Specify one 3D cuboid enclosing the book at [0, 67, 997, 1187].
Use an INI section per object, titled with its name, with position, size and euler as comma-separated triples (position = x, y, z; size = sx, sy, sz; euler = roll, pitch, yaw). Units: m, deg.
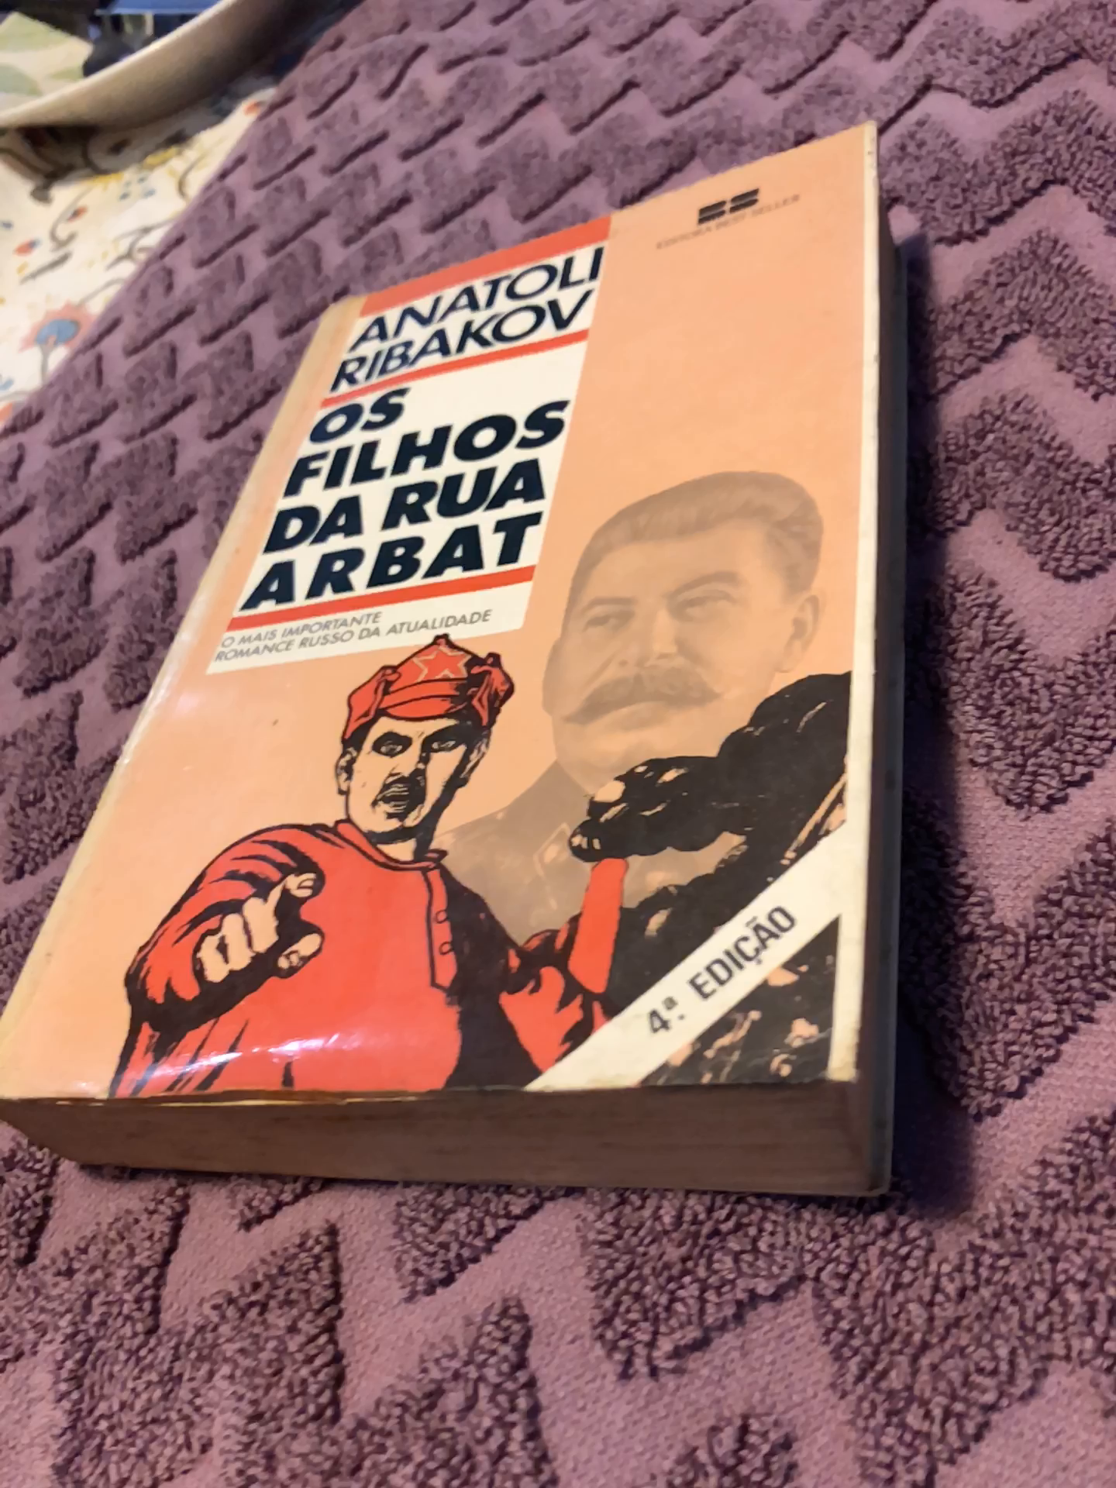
[book]
position = -0.006, -0.027, 0.219
size = 0.140, 0.040, 0.191
euler = -8, 52, 23
